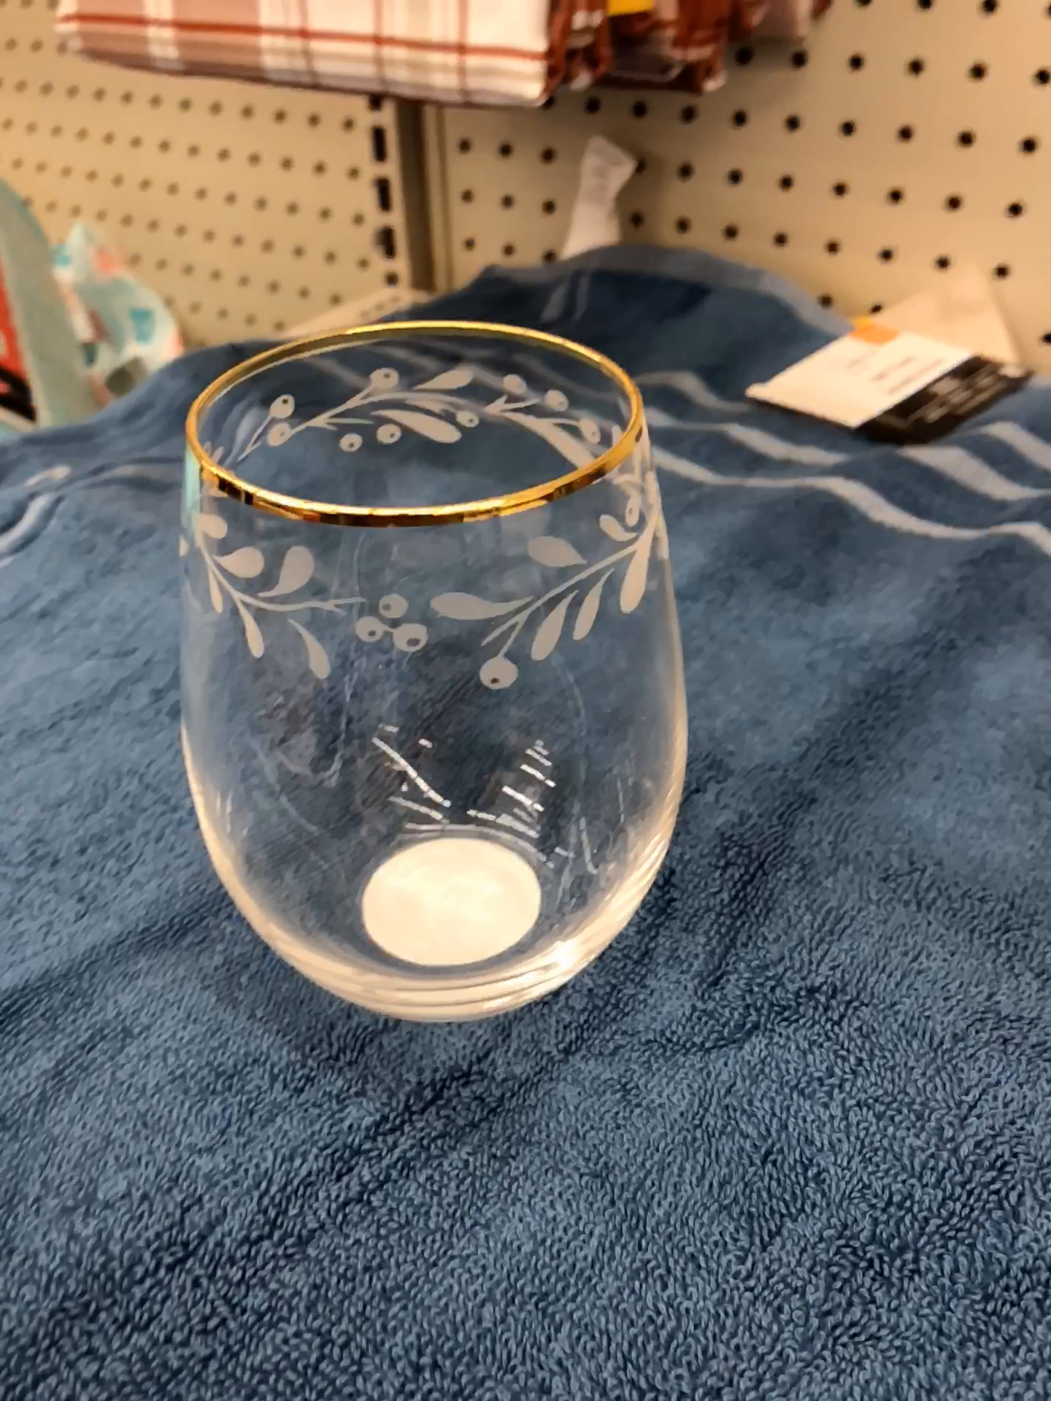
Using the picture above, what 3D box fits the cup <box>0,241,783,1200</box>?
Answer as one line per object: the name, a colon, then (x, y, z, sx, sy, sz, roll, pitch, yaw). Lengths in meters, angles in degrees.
cup: (-0.025, -0.005, 0.192, 0.090, 0.100, 0.090, -1, 37, 1)
